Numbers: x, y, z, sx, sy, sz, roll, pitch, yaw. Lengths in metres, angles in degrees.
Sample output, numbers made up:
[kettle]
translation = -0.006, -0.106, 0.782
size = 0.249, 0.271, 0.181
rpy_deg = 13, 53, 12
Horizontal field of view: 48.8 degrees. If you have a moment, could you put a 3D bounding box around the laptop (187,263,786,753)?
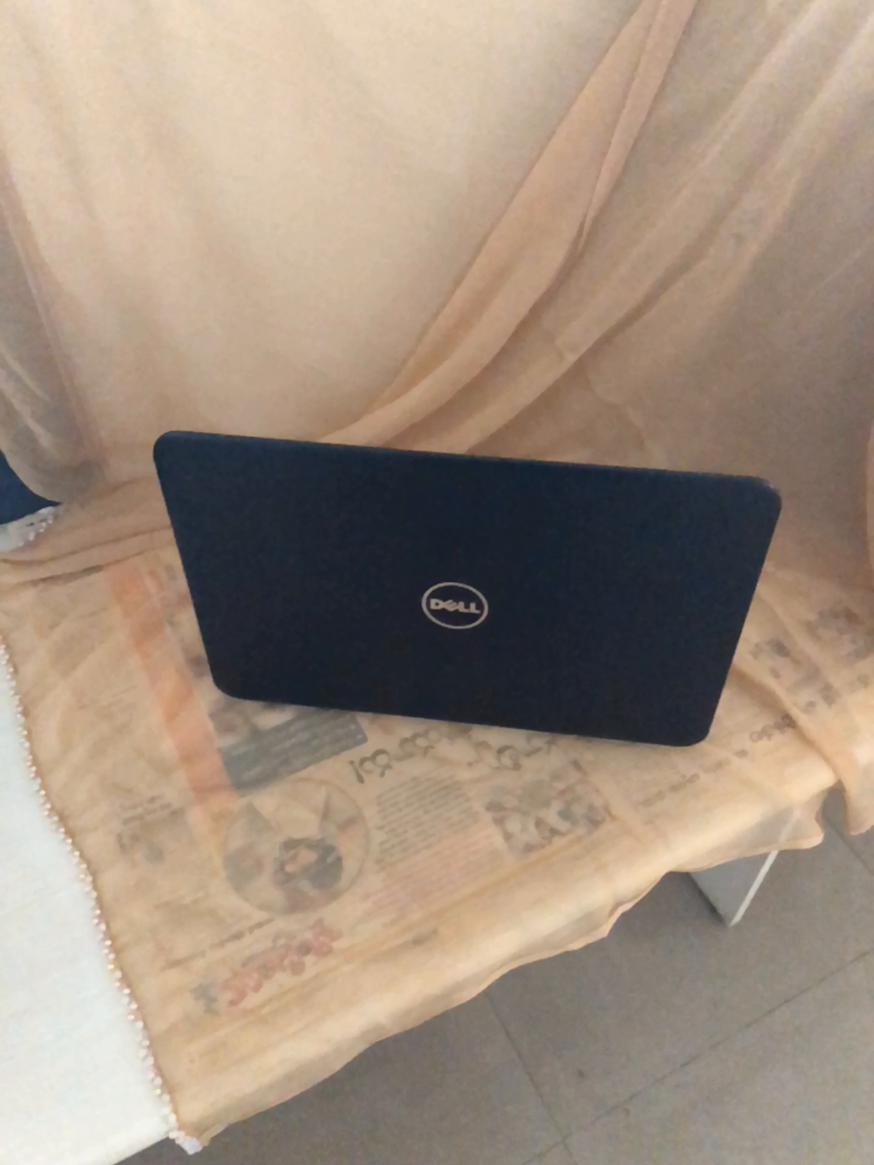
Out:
[laptop]
translation = 0.035, -0.062, 0.712
size = 0.332, 0.237, 0.258
rpy_deg = 5, 46, 6
